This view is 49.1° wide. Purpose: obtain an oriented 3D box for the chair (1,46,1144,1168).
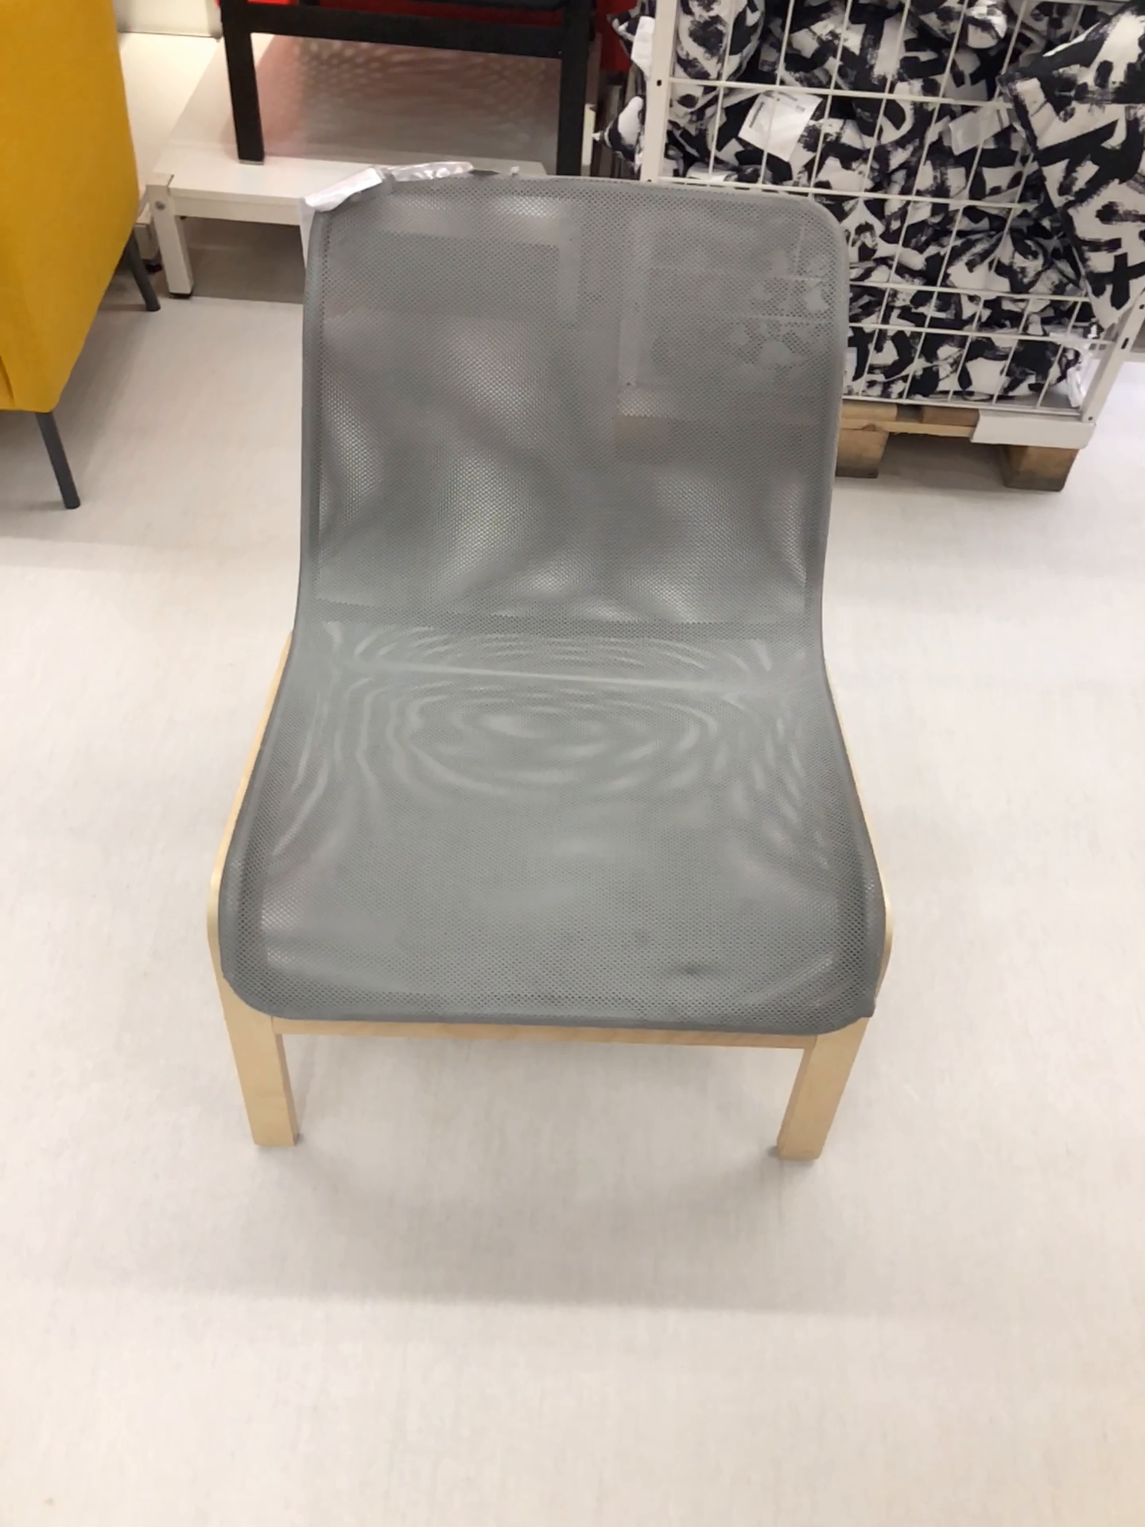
[{"bbox_3d":[-0.010,-0.093,1.203,0.630,0.825,0.644,2,51,-2],"label":"chair"}]
